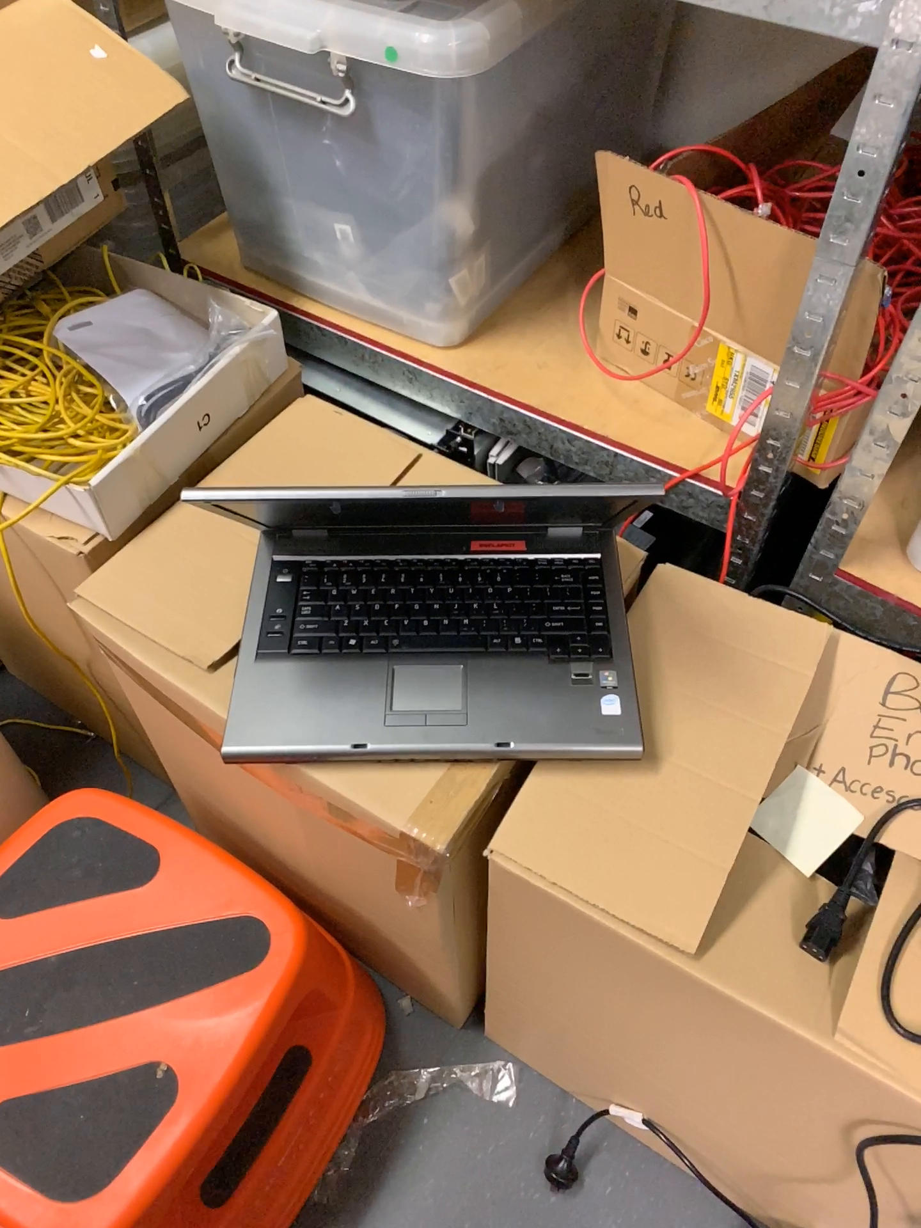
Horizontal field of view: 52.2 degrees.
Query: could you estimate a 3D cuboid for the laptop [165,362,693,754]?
[{"bbox_3d":[-0.024,-0.045,0.785,0.352,0.203,0.254,0,52,2],"label":"laptop"}]
